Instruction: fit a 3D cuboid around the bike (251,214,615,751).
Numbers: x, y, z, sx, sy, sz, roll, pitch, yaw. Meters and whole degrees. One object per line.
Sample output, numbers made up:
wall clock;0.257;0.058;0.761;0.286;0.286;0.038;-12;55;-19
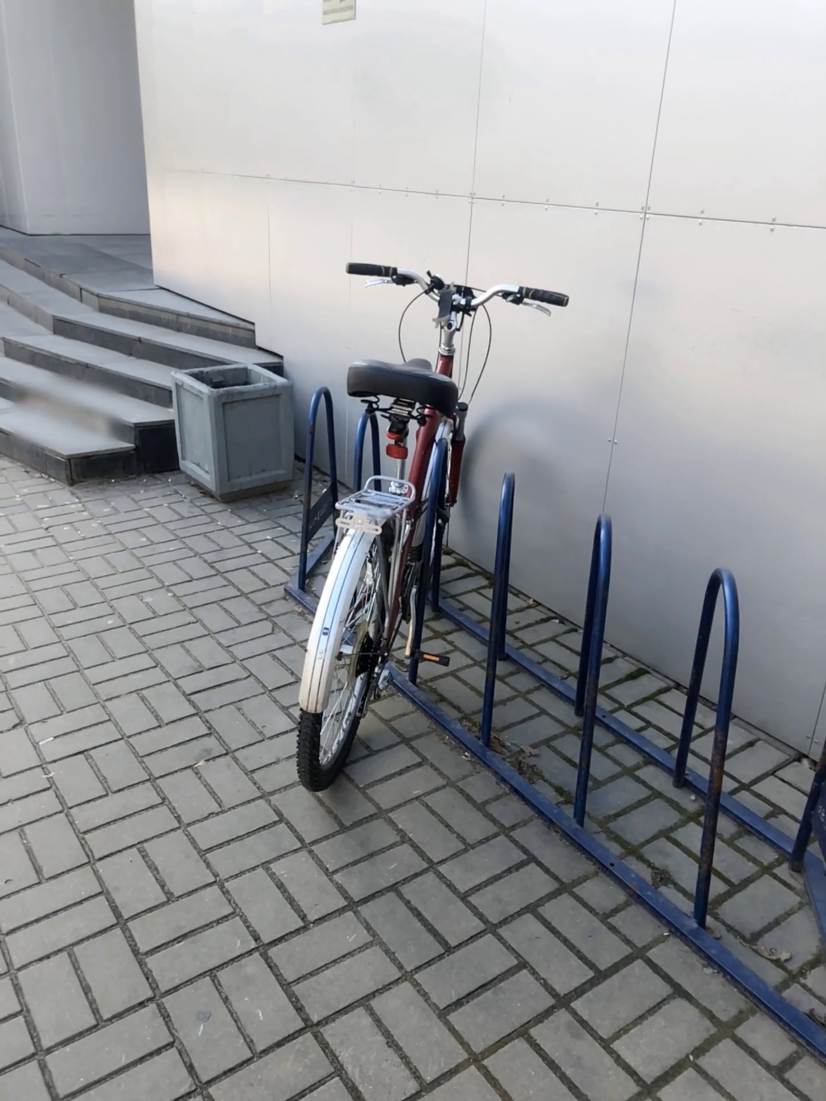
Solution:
bike;0.135;-0.315;2.504;0.596;0.973;1.311;8;27;14
